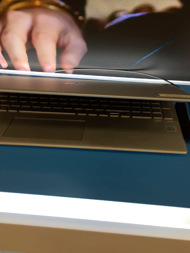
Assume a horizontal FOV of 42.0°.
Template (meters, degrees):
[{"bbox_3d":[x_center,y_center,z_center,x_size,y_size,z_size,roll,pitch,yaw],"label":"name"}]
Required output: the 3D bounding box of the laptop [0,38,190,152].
[{"bbox_3d":[-0.025,-0.074,0.466,0.377,0.105,0.231,4,38,3],"label":"laptop"}]
